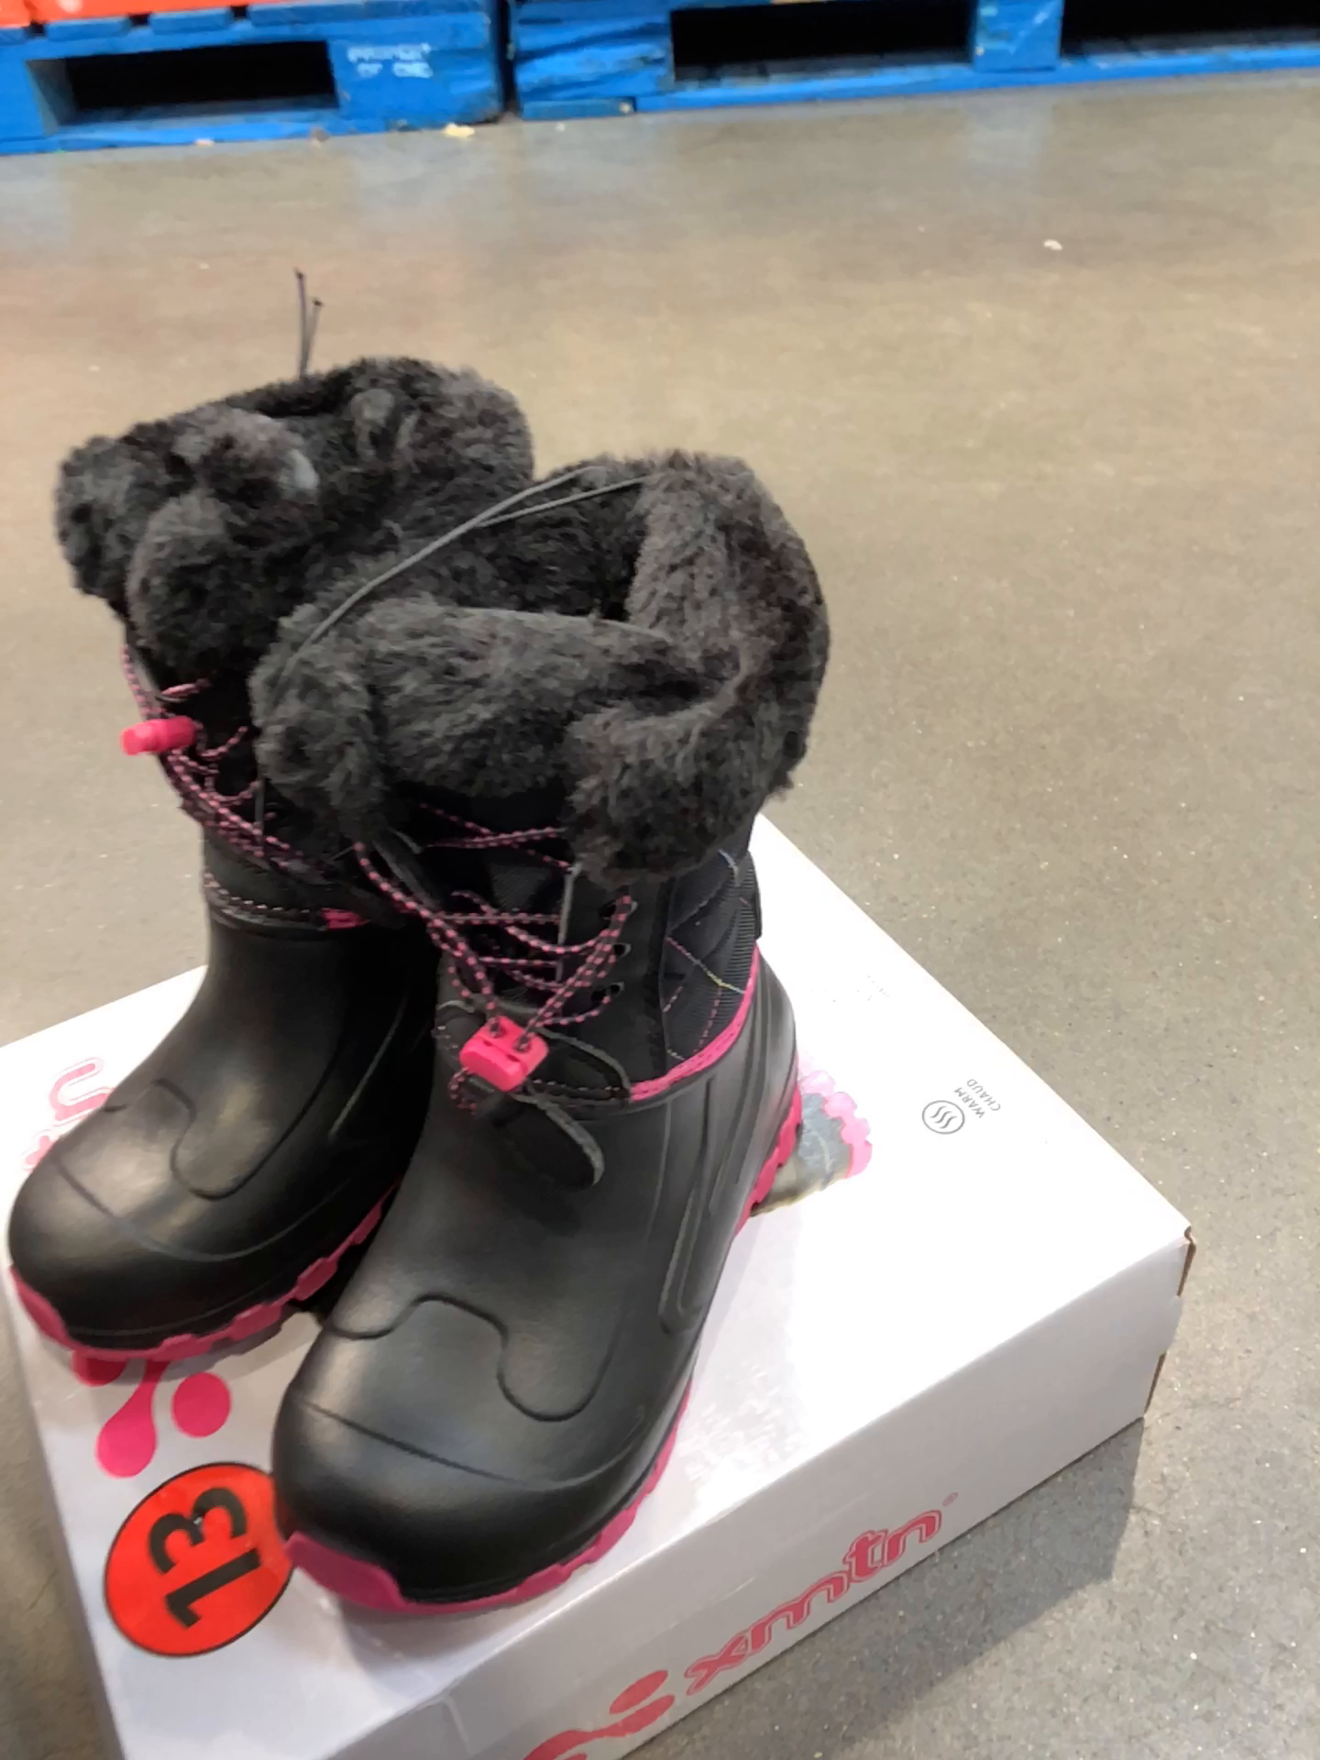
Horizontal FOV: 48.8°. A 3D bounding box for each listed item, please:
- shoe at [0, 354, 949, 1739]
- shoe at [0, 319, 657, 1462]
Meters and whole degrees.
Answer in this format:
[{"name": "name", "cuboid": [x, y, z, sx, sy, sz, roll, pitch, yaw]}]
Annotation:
[{"name": "shoe", "cuboid": [-0.033, 0.033, 0.356, 0.110, 0.229, 0.221, 20, 47, 25]}, {"name": "shoe", "cuboid": [-0.121, -0.005, 0.405, 0.110, 0.209, 0.221, 28, 51, 31]}]
